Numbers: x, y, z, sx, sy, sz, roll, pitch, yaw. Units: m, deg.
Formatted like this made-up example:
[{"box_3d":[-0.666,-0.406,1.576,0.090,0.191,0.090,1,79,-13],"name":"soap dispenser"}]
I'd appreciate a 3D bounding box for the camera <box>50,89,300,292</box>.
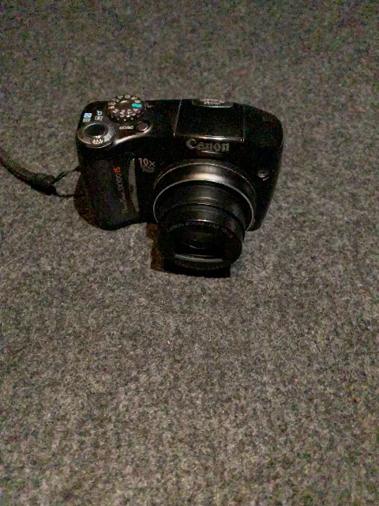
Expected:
[{"box_3d":[-0.006,-0.032,0.222,0.108,0.079,0.070,4,54,0],"name":"camera"}]
